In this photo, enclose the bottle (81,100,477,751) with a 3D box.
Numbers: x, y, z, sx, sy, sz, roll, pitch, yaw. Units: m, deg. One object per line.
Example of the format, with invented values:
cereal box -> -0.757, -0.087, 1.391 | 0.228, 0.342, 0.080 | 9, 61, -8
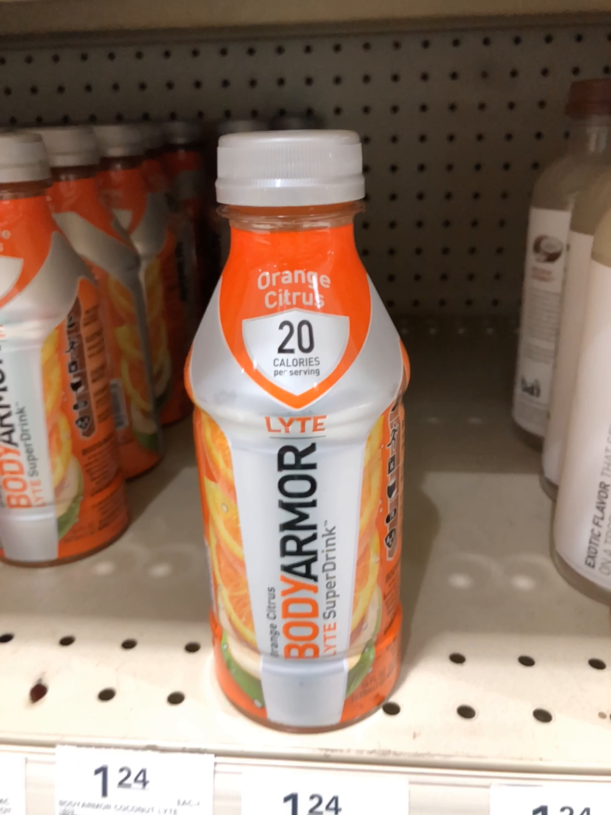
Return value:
bottle -> -0.001, 0.005, 0.212 | 0.080, 0.180, 0.080 | -1, 24, 1
